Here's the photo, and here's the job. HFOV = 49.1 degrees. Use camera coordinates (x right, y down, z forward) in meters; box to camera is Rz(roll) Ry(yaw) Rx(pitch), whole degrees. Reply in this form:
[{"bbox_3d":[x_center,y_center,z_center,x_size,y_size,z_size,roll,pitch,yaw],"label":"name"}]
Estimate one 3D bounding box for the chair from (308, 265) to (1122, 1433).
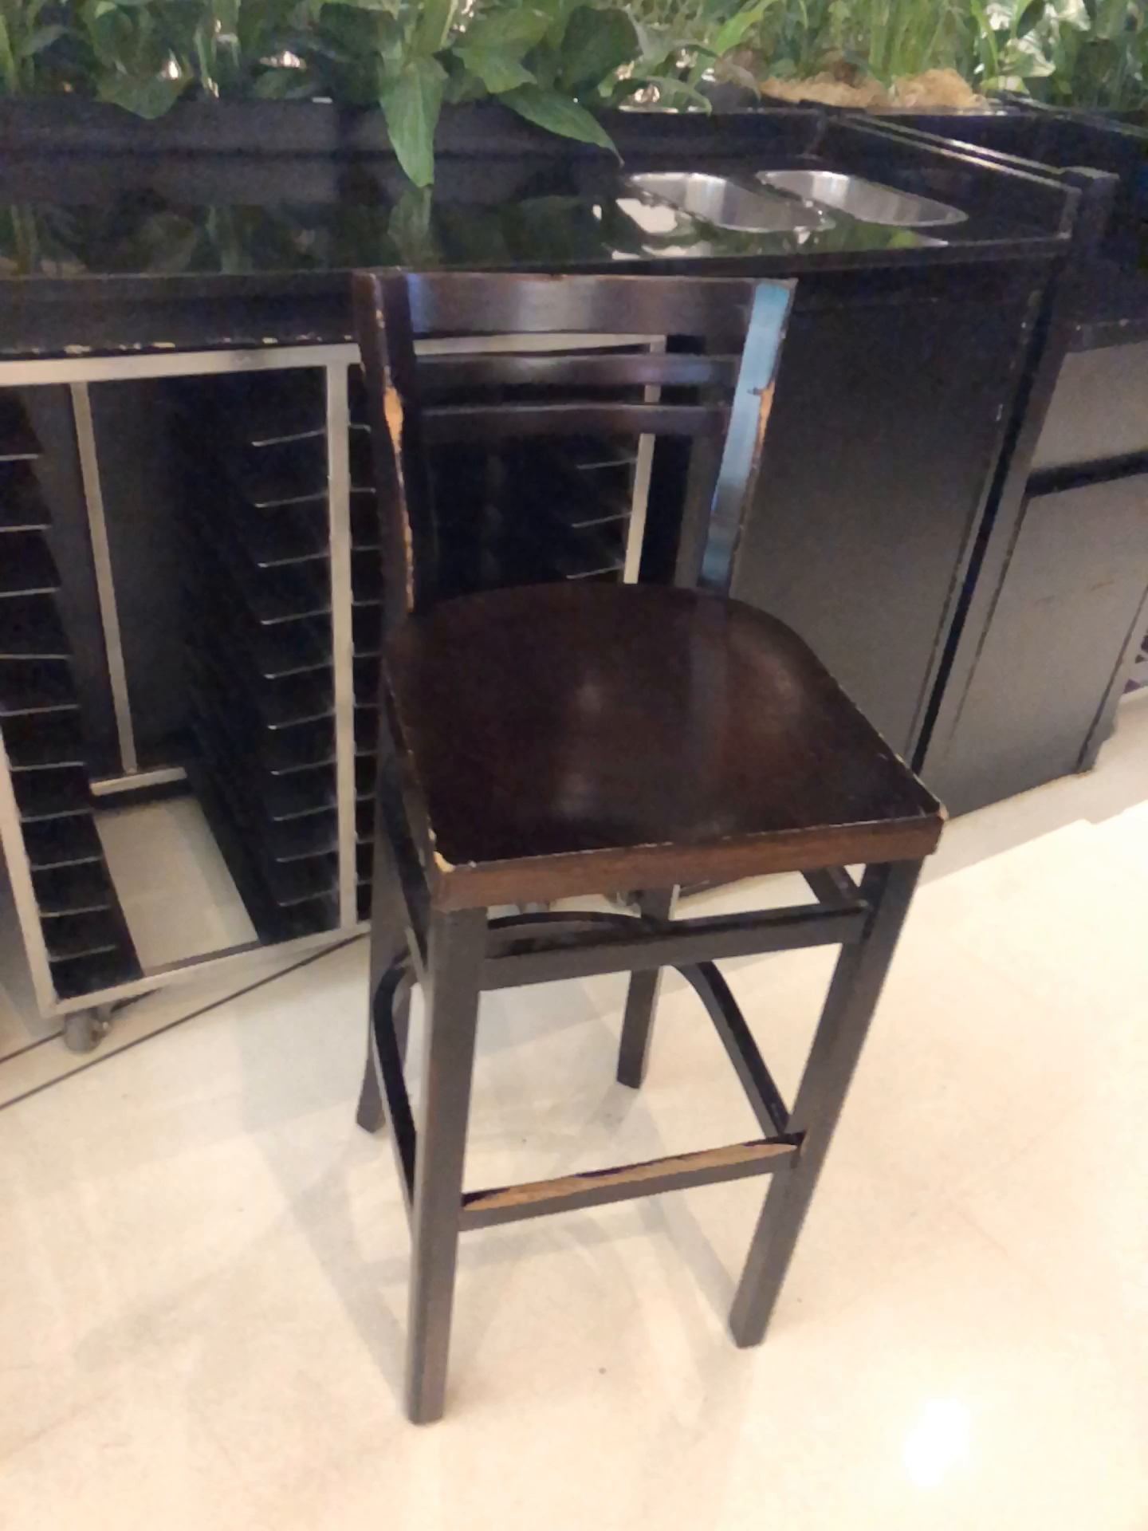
[{"bbox_3d":[0.026,0.085,1.135,0.440,0.913,0.453,-6,35,-15],"label":"chair"}]
